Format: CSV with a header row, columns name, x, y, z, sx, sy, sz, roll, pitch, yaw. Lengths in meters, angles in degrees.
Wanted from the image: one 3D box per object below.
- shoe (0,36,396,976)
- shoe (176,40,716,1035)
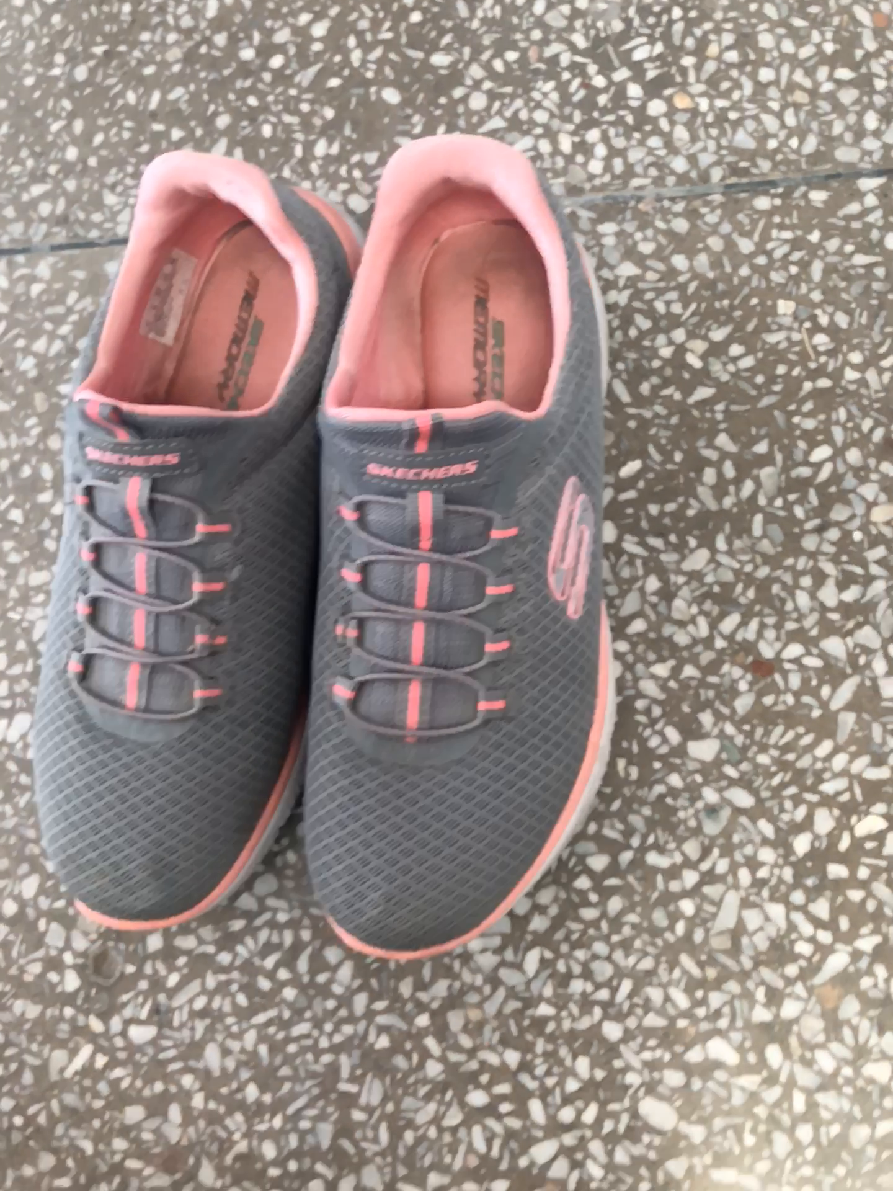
name,x,y,z,sx,sy,sz,roll,pitch,yaw
shoe,-0.089,-0.029,0.308,0.097,0.095,0.252,6,77,9
shoe,0.012,-0.019,0.297,0.102,0.108,0.246,6,77,9
